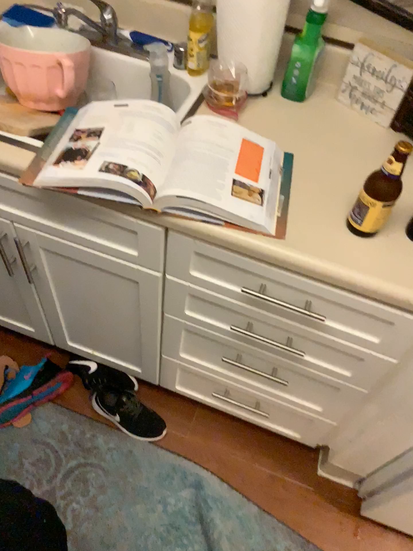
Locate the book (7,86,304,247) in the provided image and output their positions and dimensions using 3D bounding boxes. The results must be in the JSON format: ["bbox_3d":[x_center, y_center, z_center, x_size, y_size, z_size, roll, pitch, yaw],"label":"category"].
[{"bbox_3d":[-0.075,-0.237,0.931,0.530,0.040,0.310,12,51,1],"label":"book"}]
